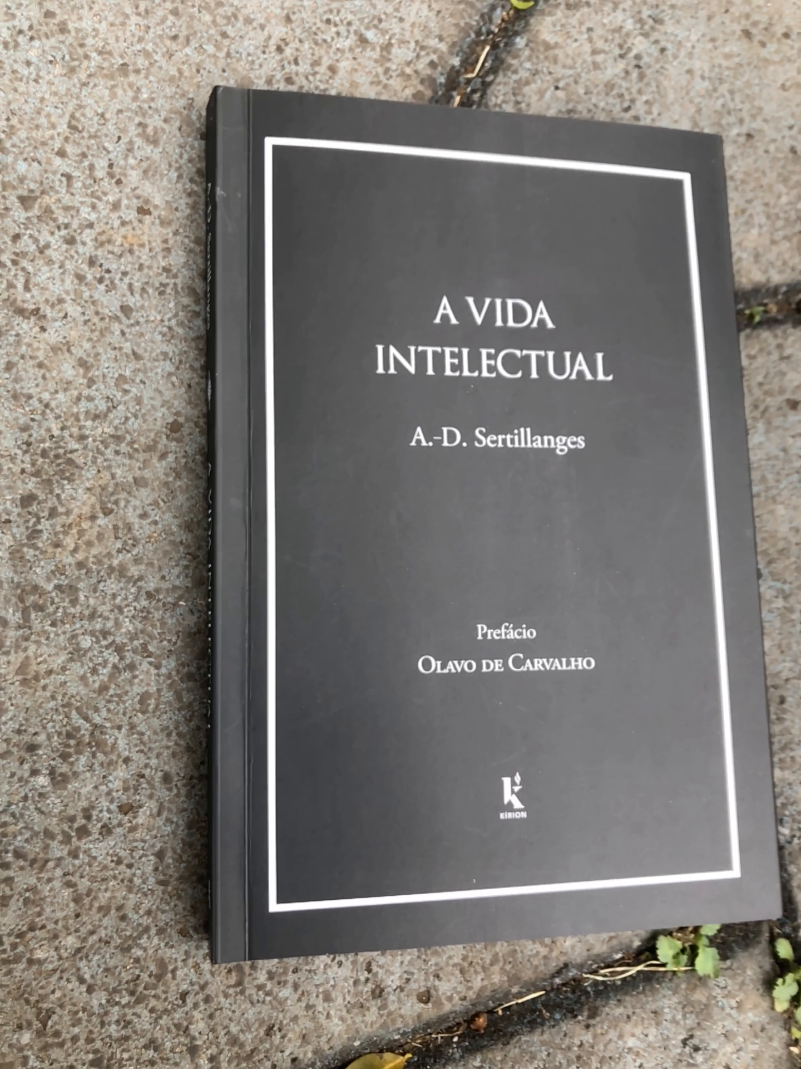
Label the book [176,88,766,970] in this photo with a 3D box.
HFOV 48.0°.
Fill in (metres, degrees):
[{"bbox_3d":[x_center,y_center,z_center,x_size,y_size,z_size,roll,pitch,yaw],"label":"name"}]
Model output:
[{"bbox_3d":[0.016,-0.005,0.221,0.136,0.020,0.196,0,84,-11],"label":"book"}]
